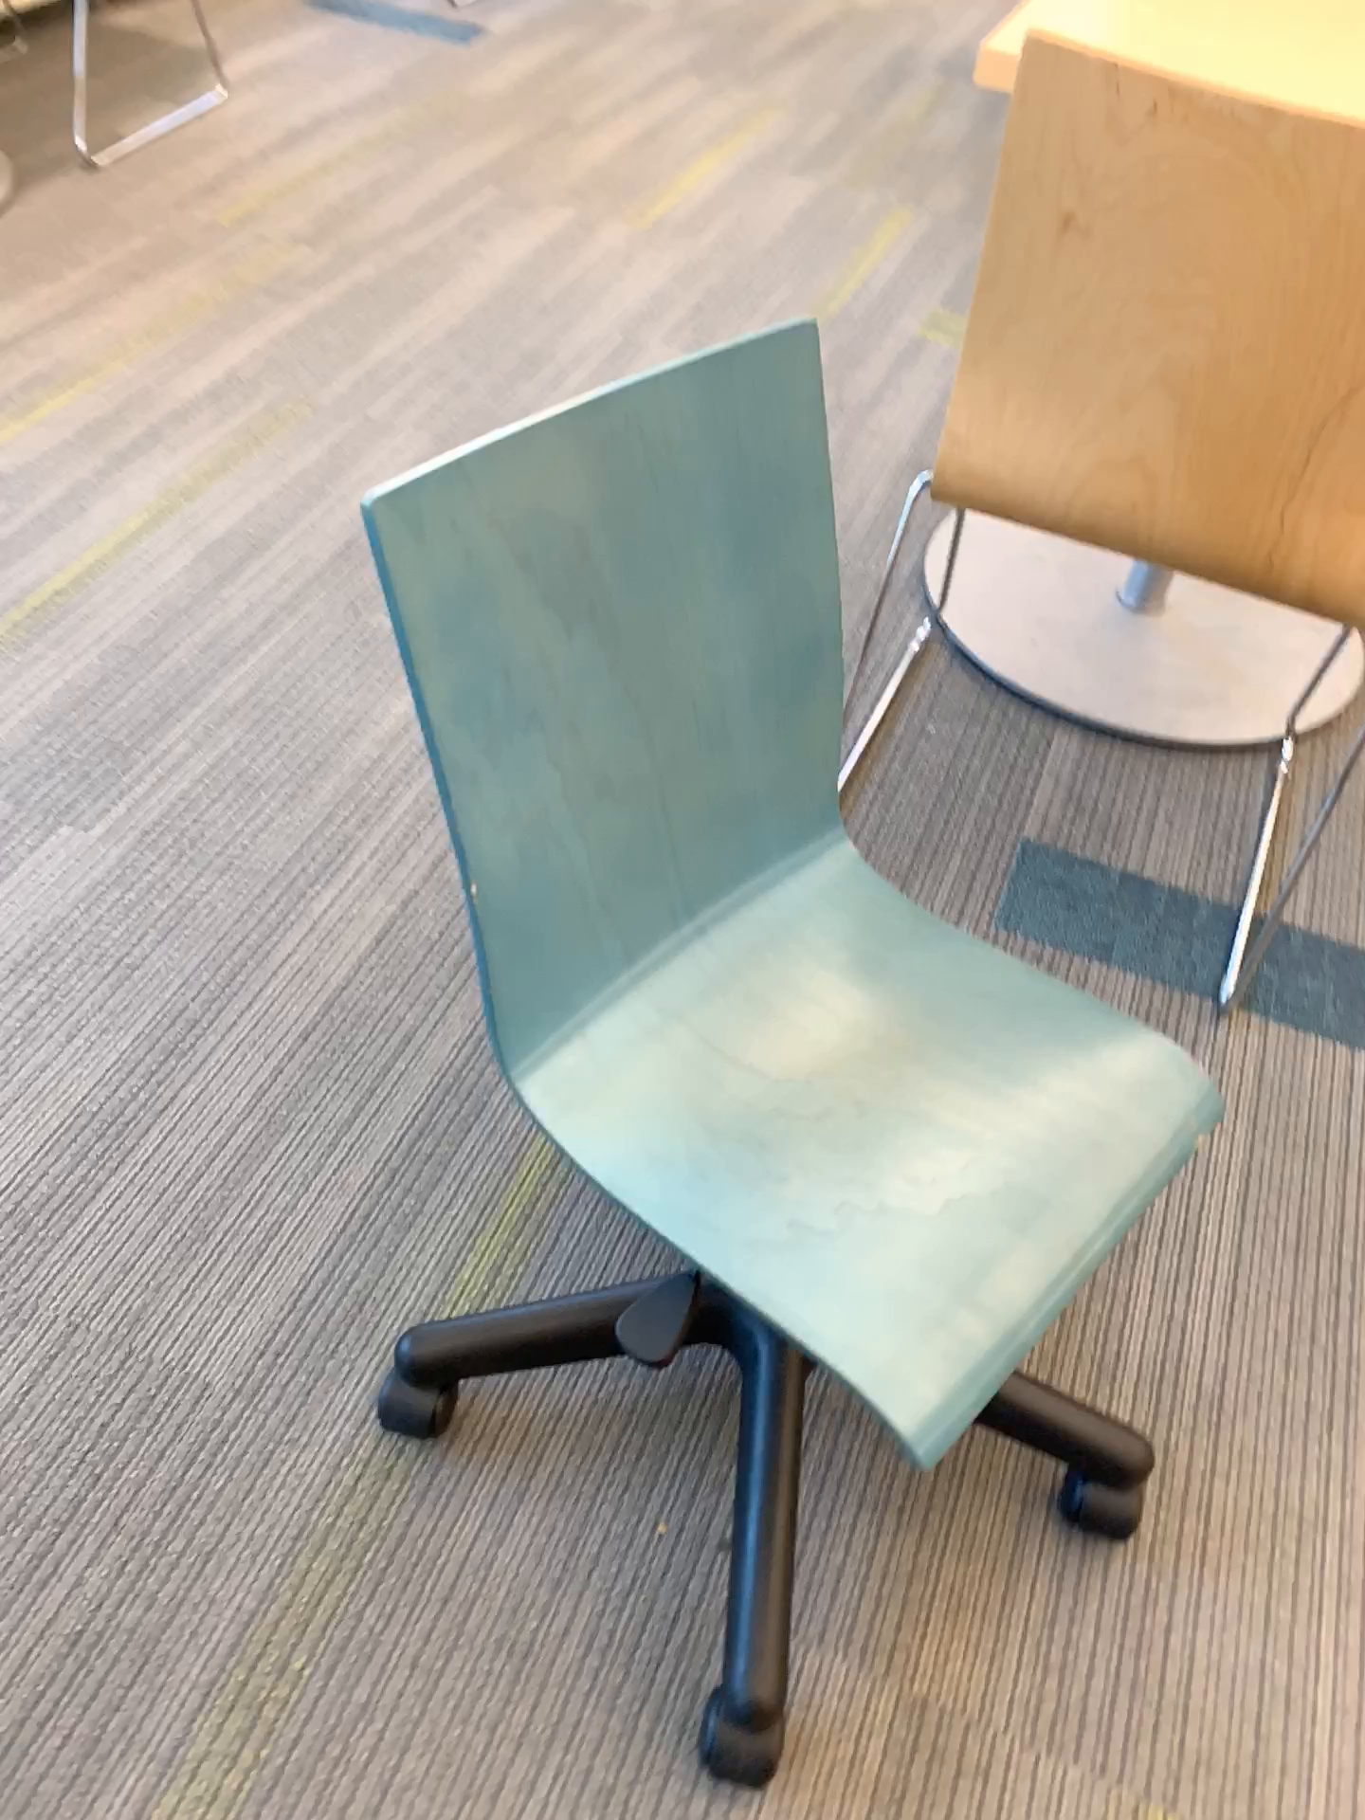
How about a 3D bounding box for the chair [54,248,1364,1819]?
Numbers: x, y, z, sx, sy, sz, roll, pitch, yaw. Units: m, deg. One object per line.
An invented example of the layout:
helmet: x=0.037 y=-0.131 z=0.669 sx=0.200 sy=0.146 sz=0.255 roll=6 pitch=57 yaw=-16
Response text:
chair: x=0.128 y=0.100 z=0.872 sx=0.611 sy=0.667 sz=0.601 roll=35 pitch=52 yaw=23
